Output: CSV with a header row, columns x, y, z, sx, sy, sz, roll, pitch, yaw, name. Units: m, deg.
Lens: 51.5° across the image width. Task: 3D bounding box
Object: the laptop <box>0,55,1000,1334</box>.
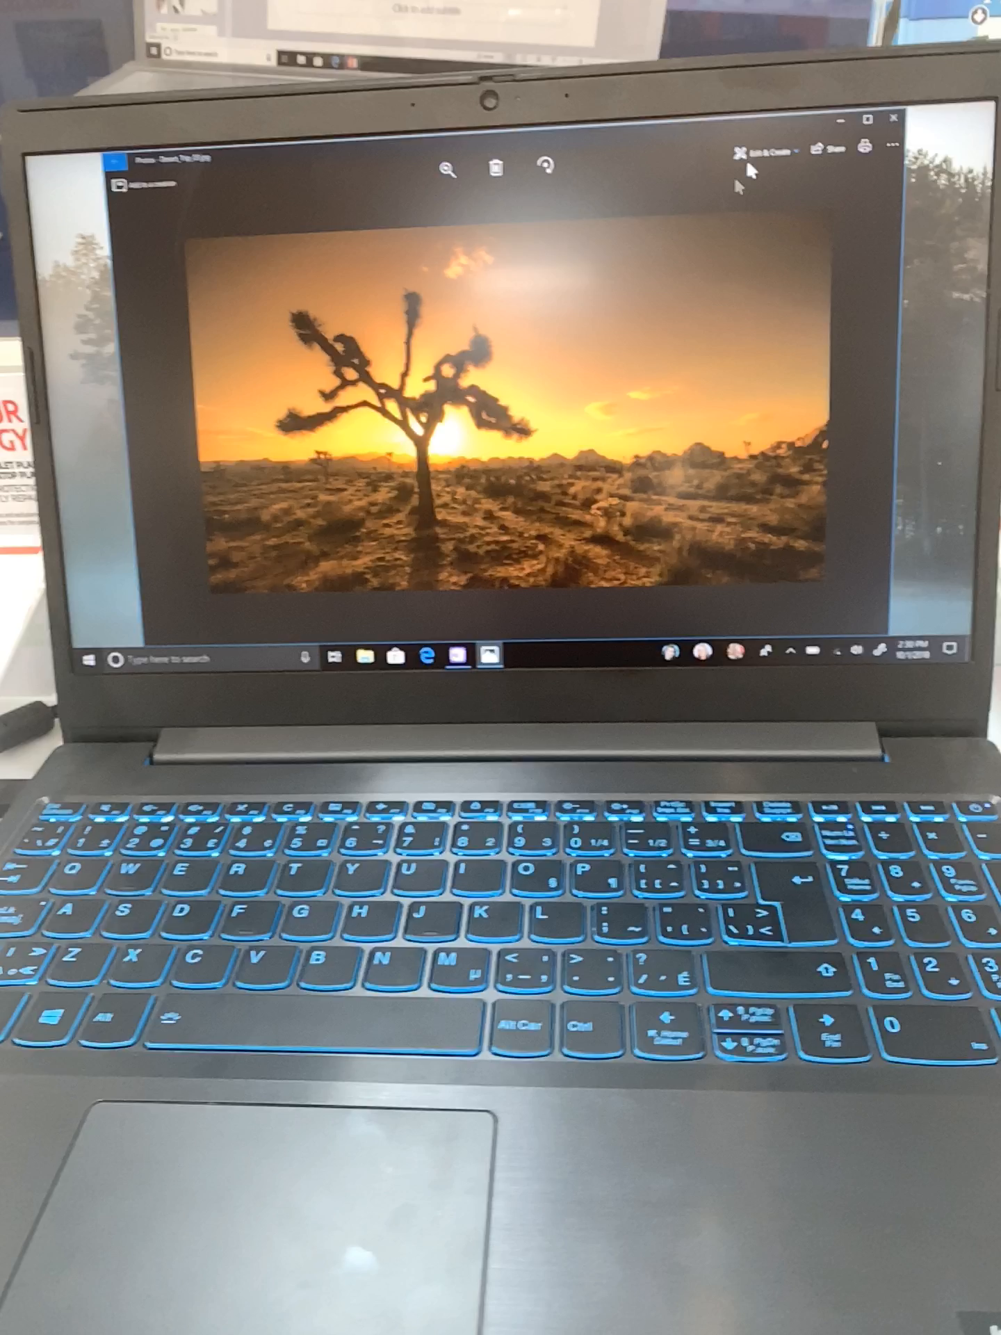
x,y,z,sx,sy,sz,roll,pitch,yaw,name
-0.008,-0.025,0.273,0.340,0.214,0.330,0,31,4,laptop
